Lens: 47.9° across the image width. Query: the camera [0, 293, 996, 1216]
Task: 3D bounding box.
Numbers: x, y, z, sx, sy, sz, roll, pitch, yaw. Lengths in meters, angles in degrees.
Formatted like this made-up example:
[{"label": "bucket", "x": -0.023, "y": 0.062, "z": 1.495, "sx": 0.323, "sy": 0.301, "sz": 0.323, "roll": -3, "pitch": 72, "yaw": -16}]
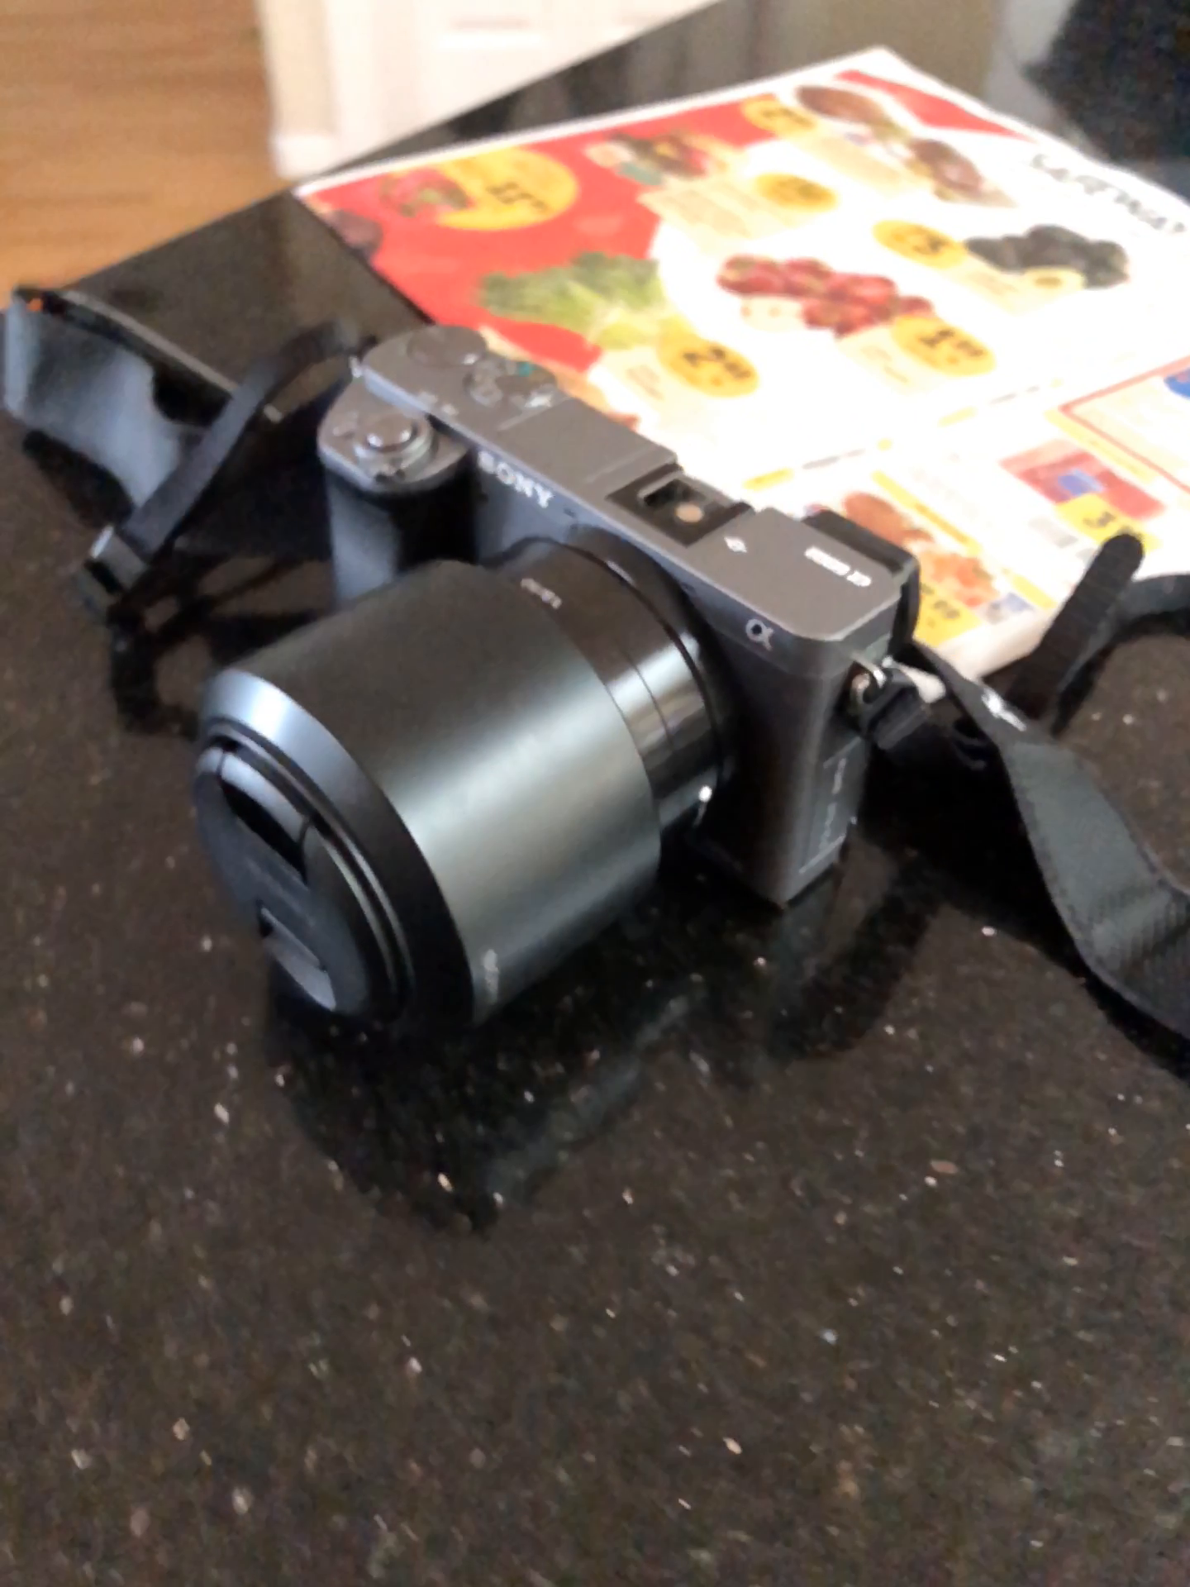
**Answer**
[{"label": "camera", "x": -0.020, "y": -0.018, "z": 0.247, "sx": 0.110, "sy": 0.070, "sz": 0.130, "roll": -35, "pitch": 57, "yaw": -29}]
